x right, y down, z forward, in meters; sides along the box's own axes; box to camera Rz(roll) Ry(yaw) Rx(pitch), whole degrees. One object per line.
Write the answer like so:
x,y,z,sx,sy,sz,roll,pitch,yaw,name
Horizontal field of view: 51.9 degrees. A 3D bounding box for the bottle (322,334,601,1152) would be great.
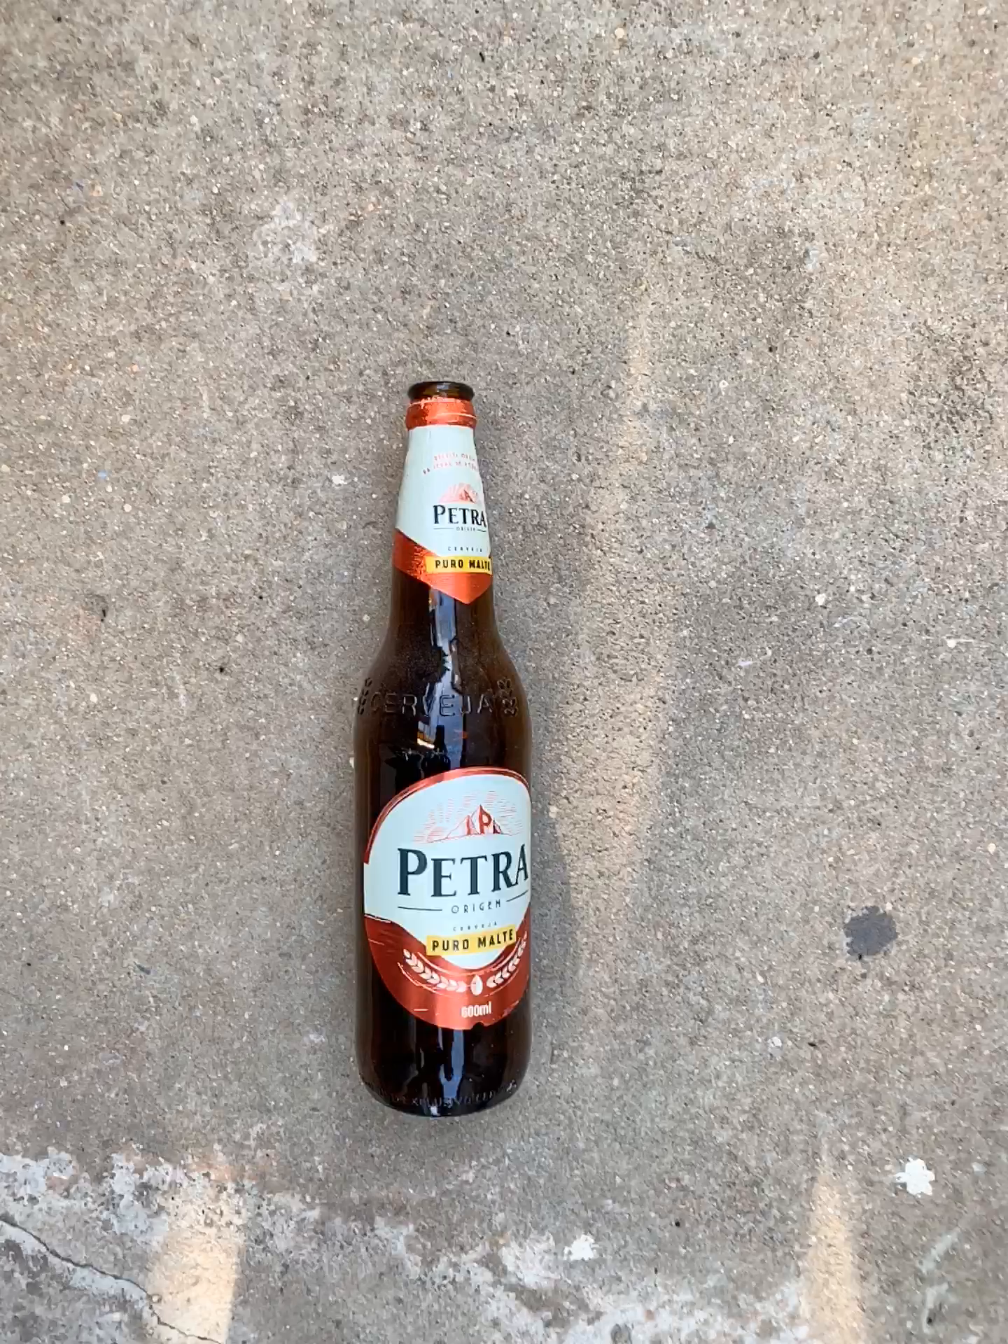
-0.018,0.024,0.391,0.080,0.070,0.270,1,90,-28,bottle
